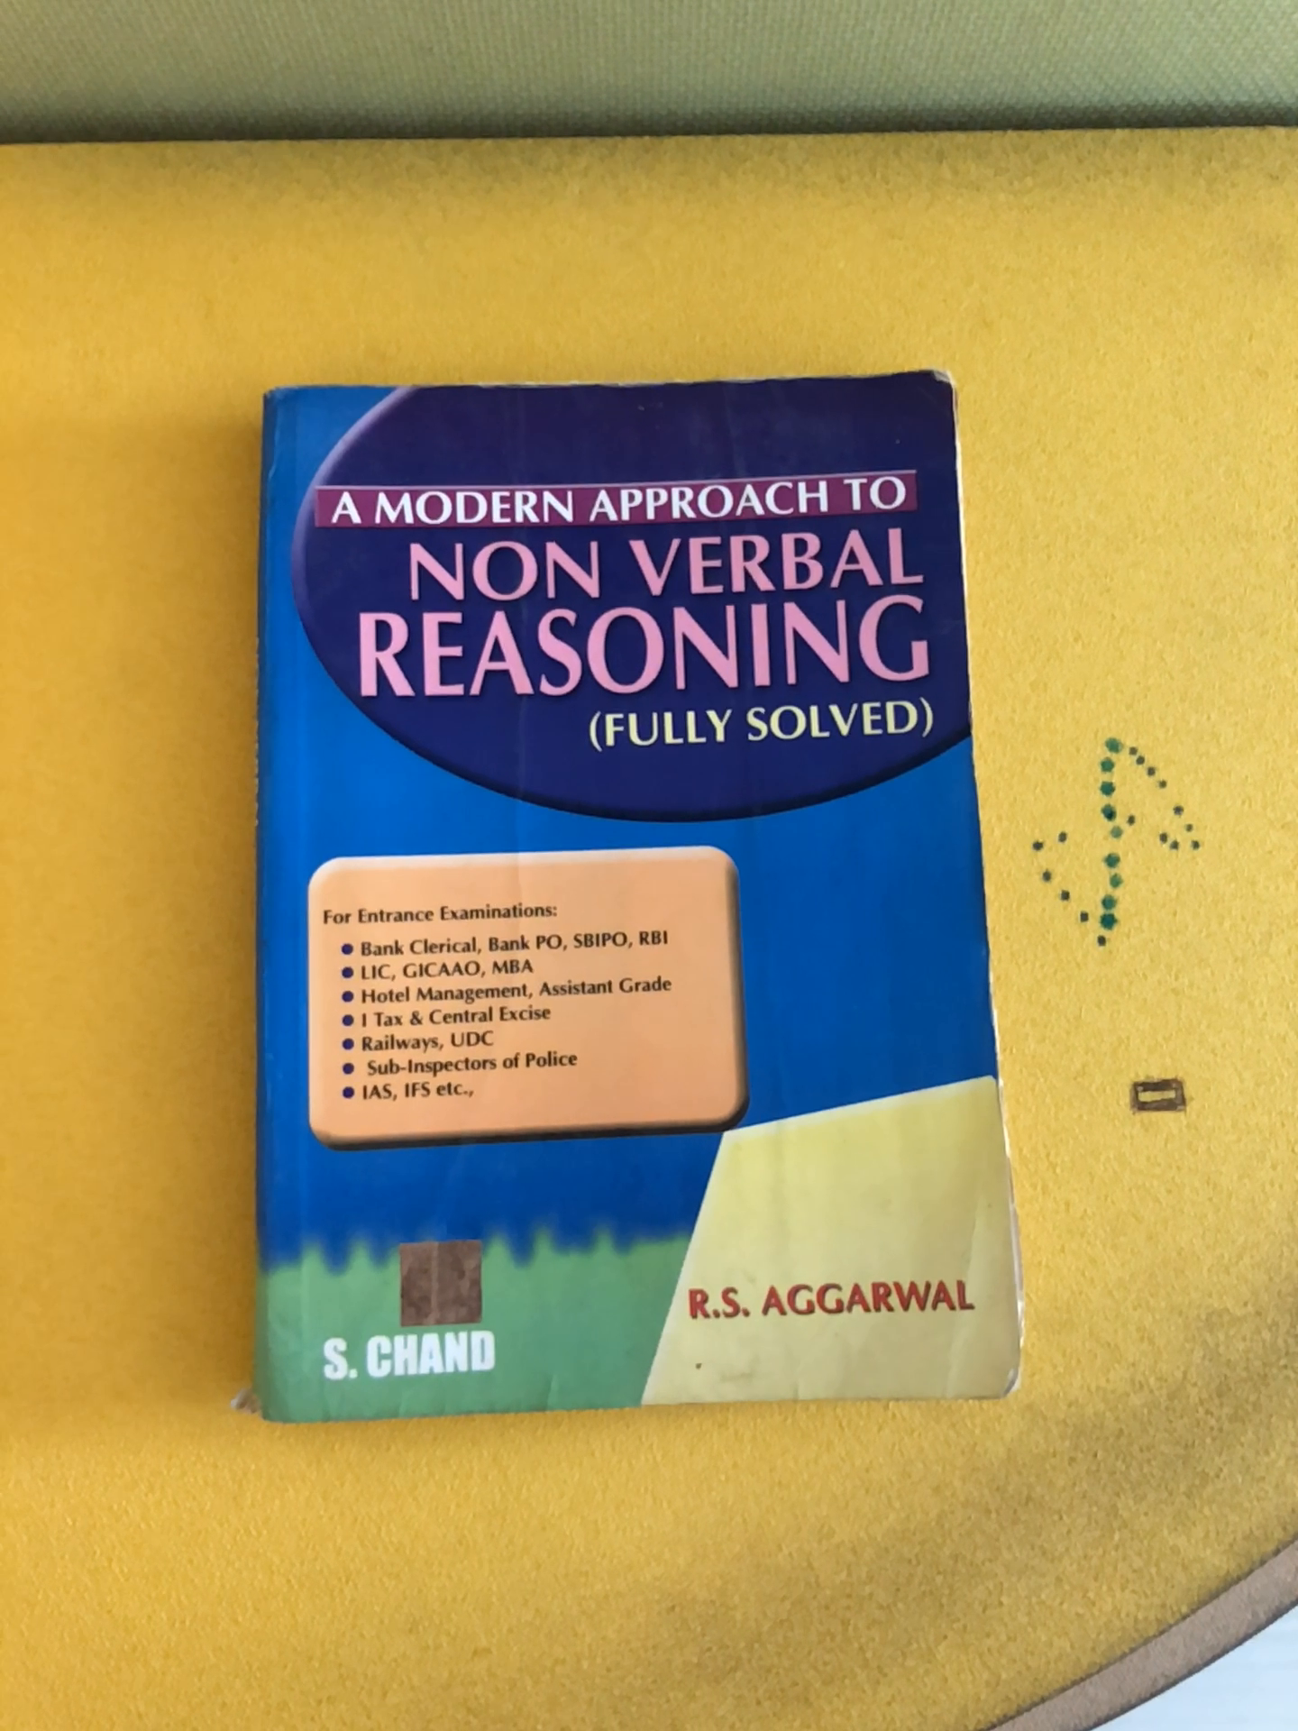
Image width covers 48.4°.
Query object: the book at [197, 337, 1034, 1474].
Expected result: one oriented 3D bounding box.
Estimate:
[{"bbox_3d":[-0.011,0.003,0.330,0.170,0.040,0.240,-2,82,-2],"label":"book"}]
